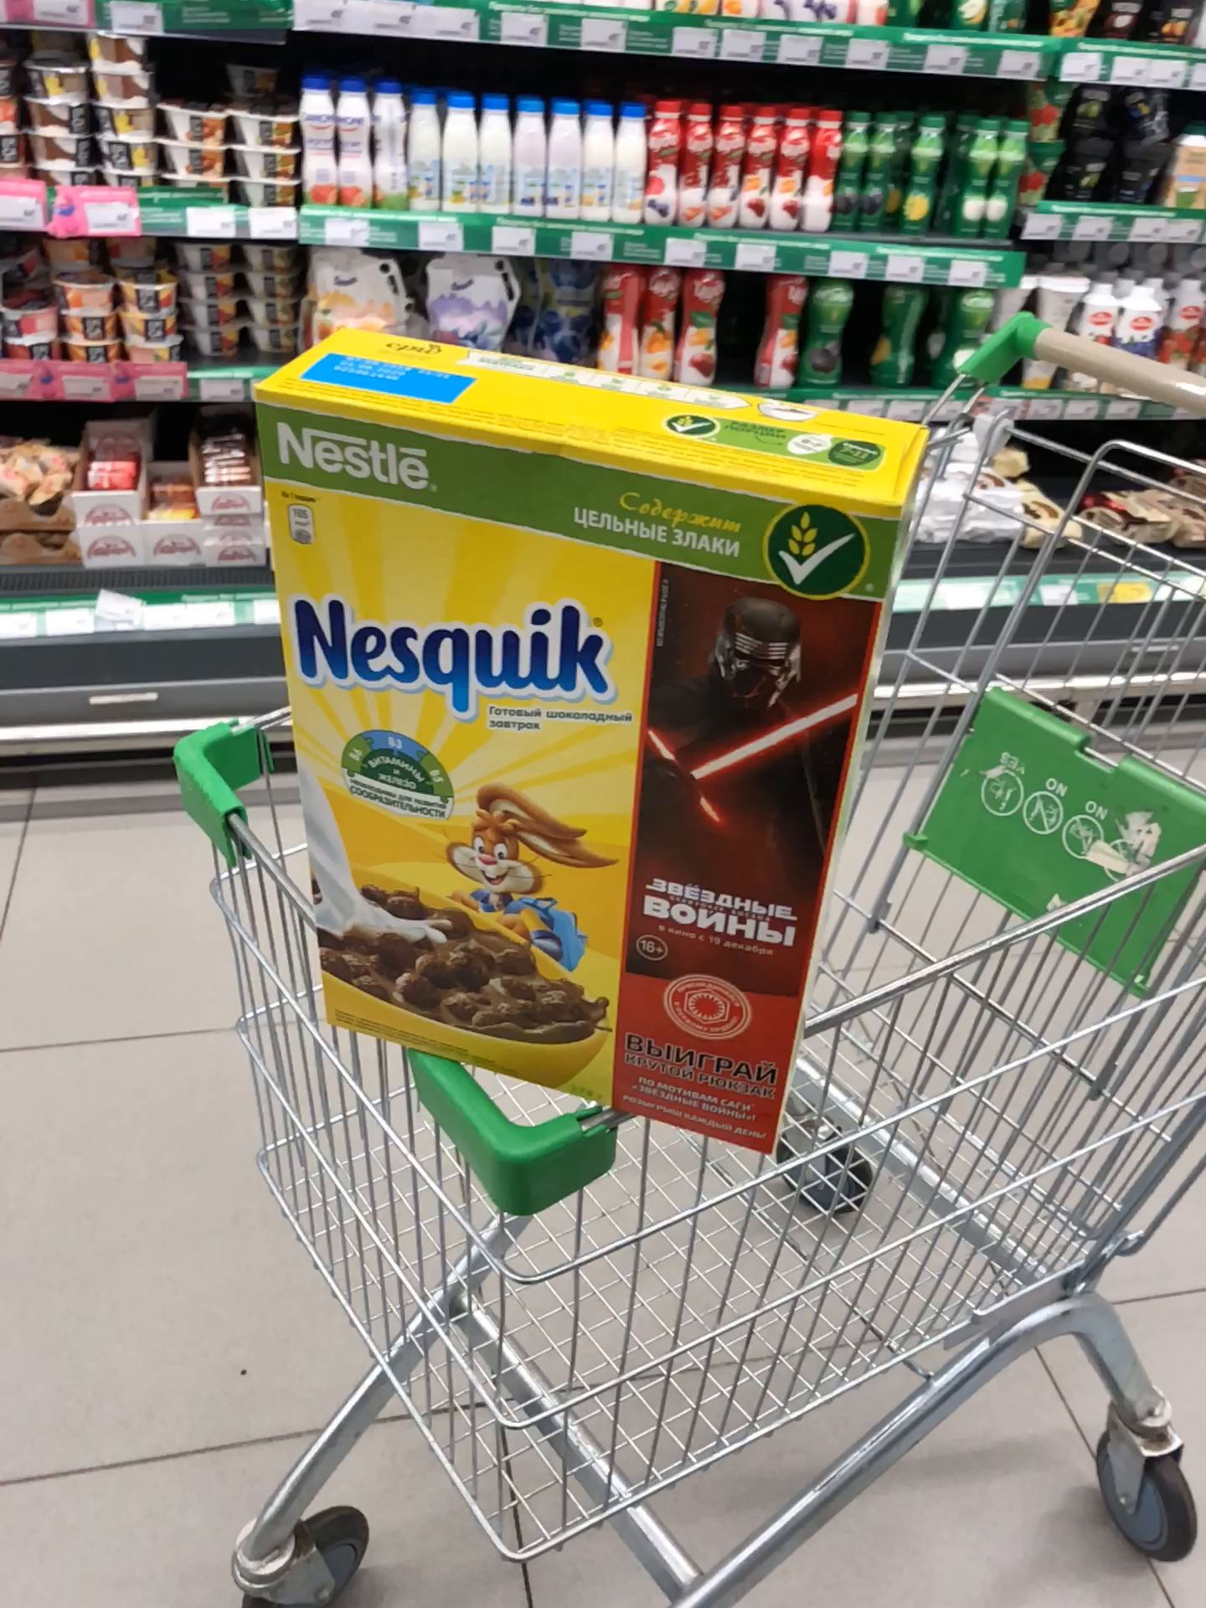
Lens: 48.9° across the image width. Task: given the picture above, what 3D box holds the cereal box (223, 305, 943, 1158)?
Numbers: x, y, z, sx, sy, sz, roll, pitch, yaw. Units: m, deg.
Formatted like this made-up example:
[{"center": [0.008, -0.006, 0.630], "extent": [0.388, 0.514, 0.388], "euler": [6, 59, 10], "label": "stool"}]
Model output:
[{"center": [-0.012, -0.016, 0.472], "extent": [0.200, 0.268, 0.070], "euler": [14, 39, 13], "label": "cereal box"}]
